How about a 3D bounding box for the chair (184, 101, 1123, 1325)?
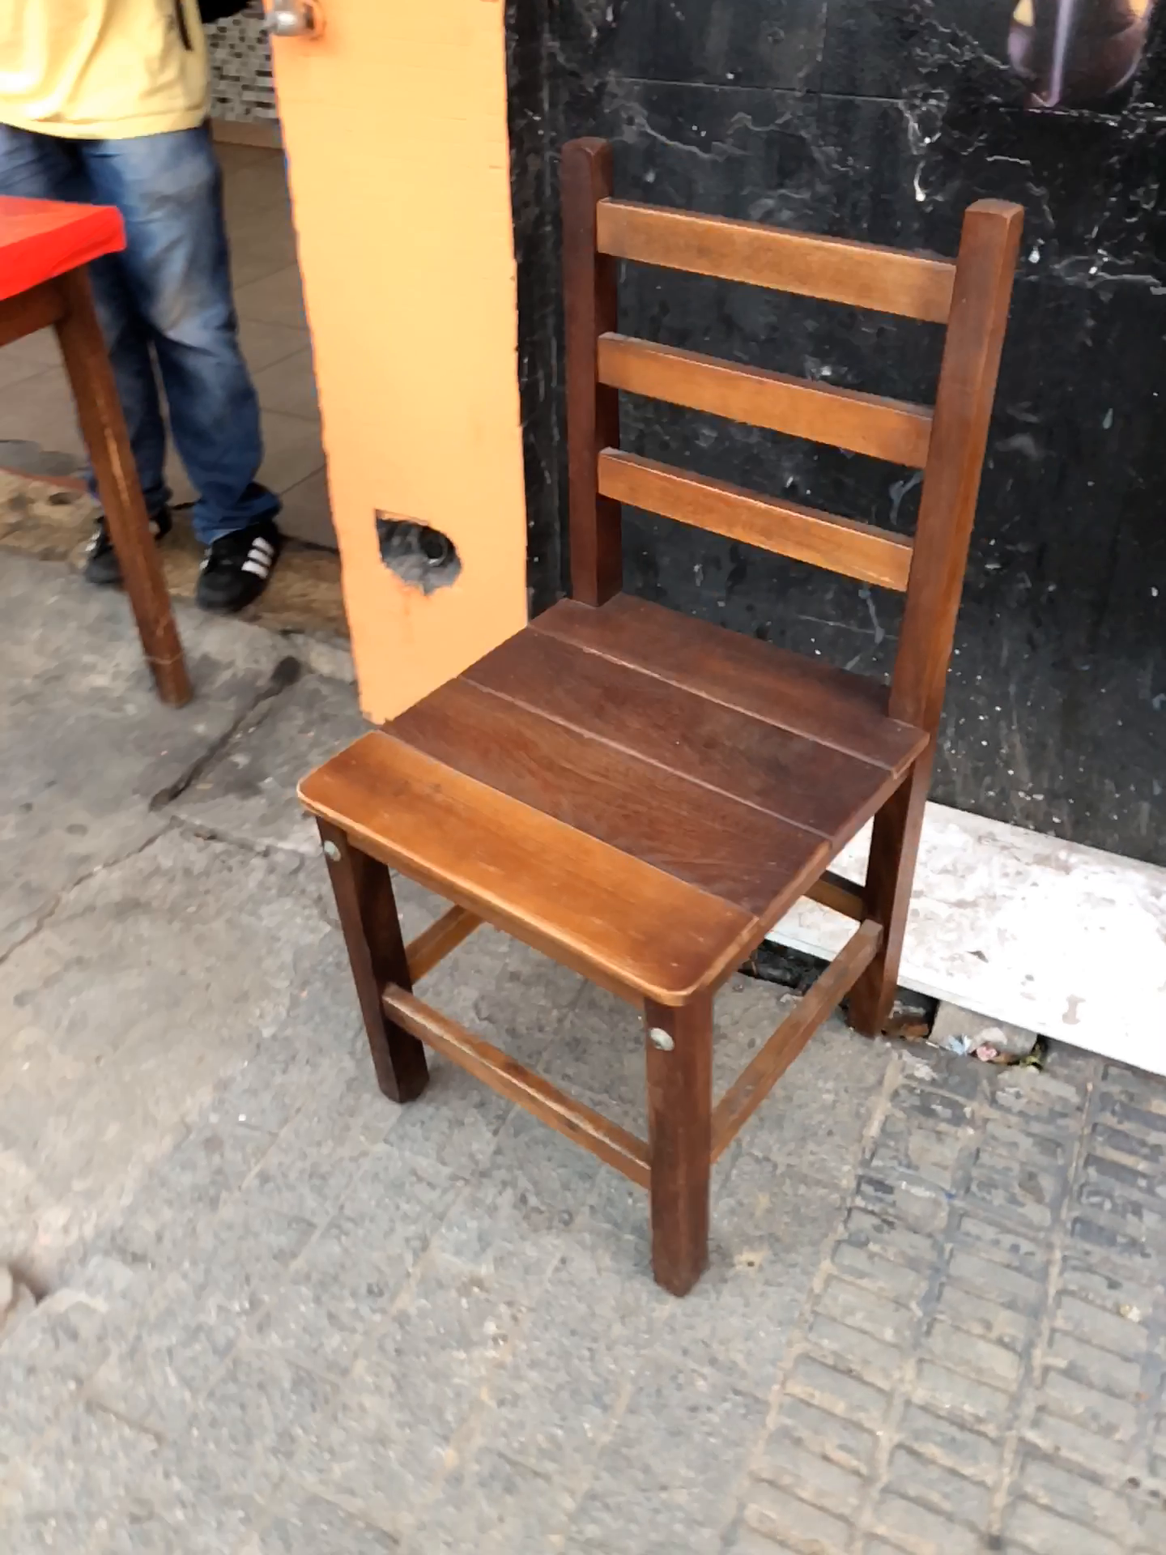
[{"bbox_3d":[0.070,-0.063,1.176,0.461,0.893,0.503,25,44,31],"label":"chair"}]
